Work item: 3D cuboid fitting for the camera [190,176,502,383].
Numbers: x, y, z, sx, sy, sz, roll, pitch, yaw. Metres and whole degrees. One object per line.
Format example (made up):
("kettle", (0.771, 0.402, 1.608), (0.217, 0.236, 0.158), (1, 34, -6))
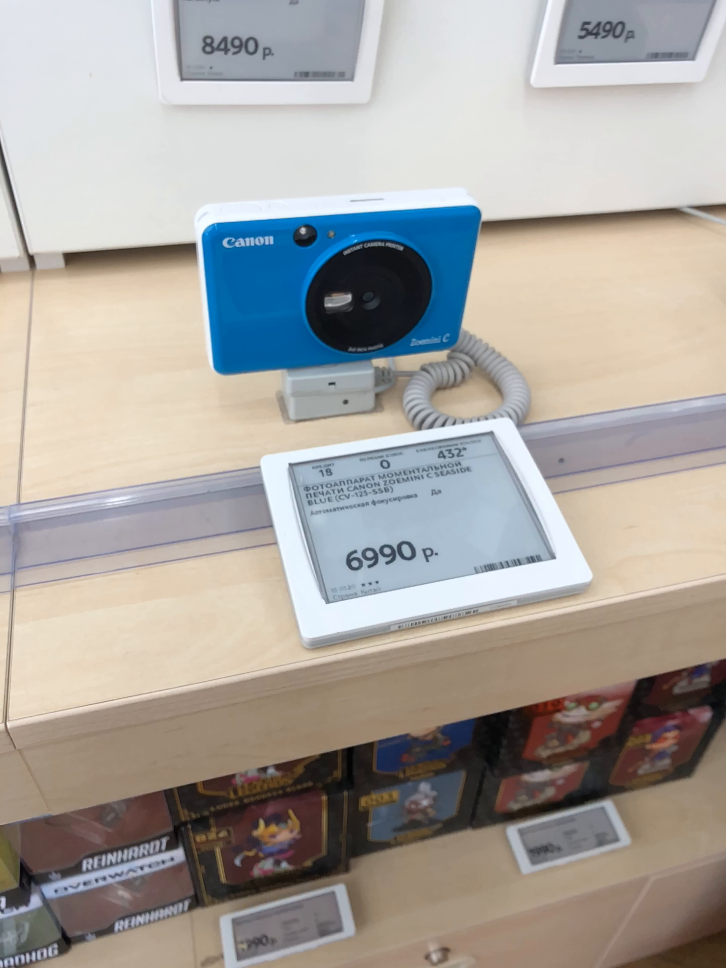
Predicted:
("camera", (-0.008, -0.087, 0.345), (0.120, 0.070, 0.030), (-9, 48, -12))
